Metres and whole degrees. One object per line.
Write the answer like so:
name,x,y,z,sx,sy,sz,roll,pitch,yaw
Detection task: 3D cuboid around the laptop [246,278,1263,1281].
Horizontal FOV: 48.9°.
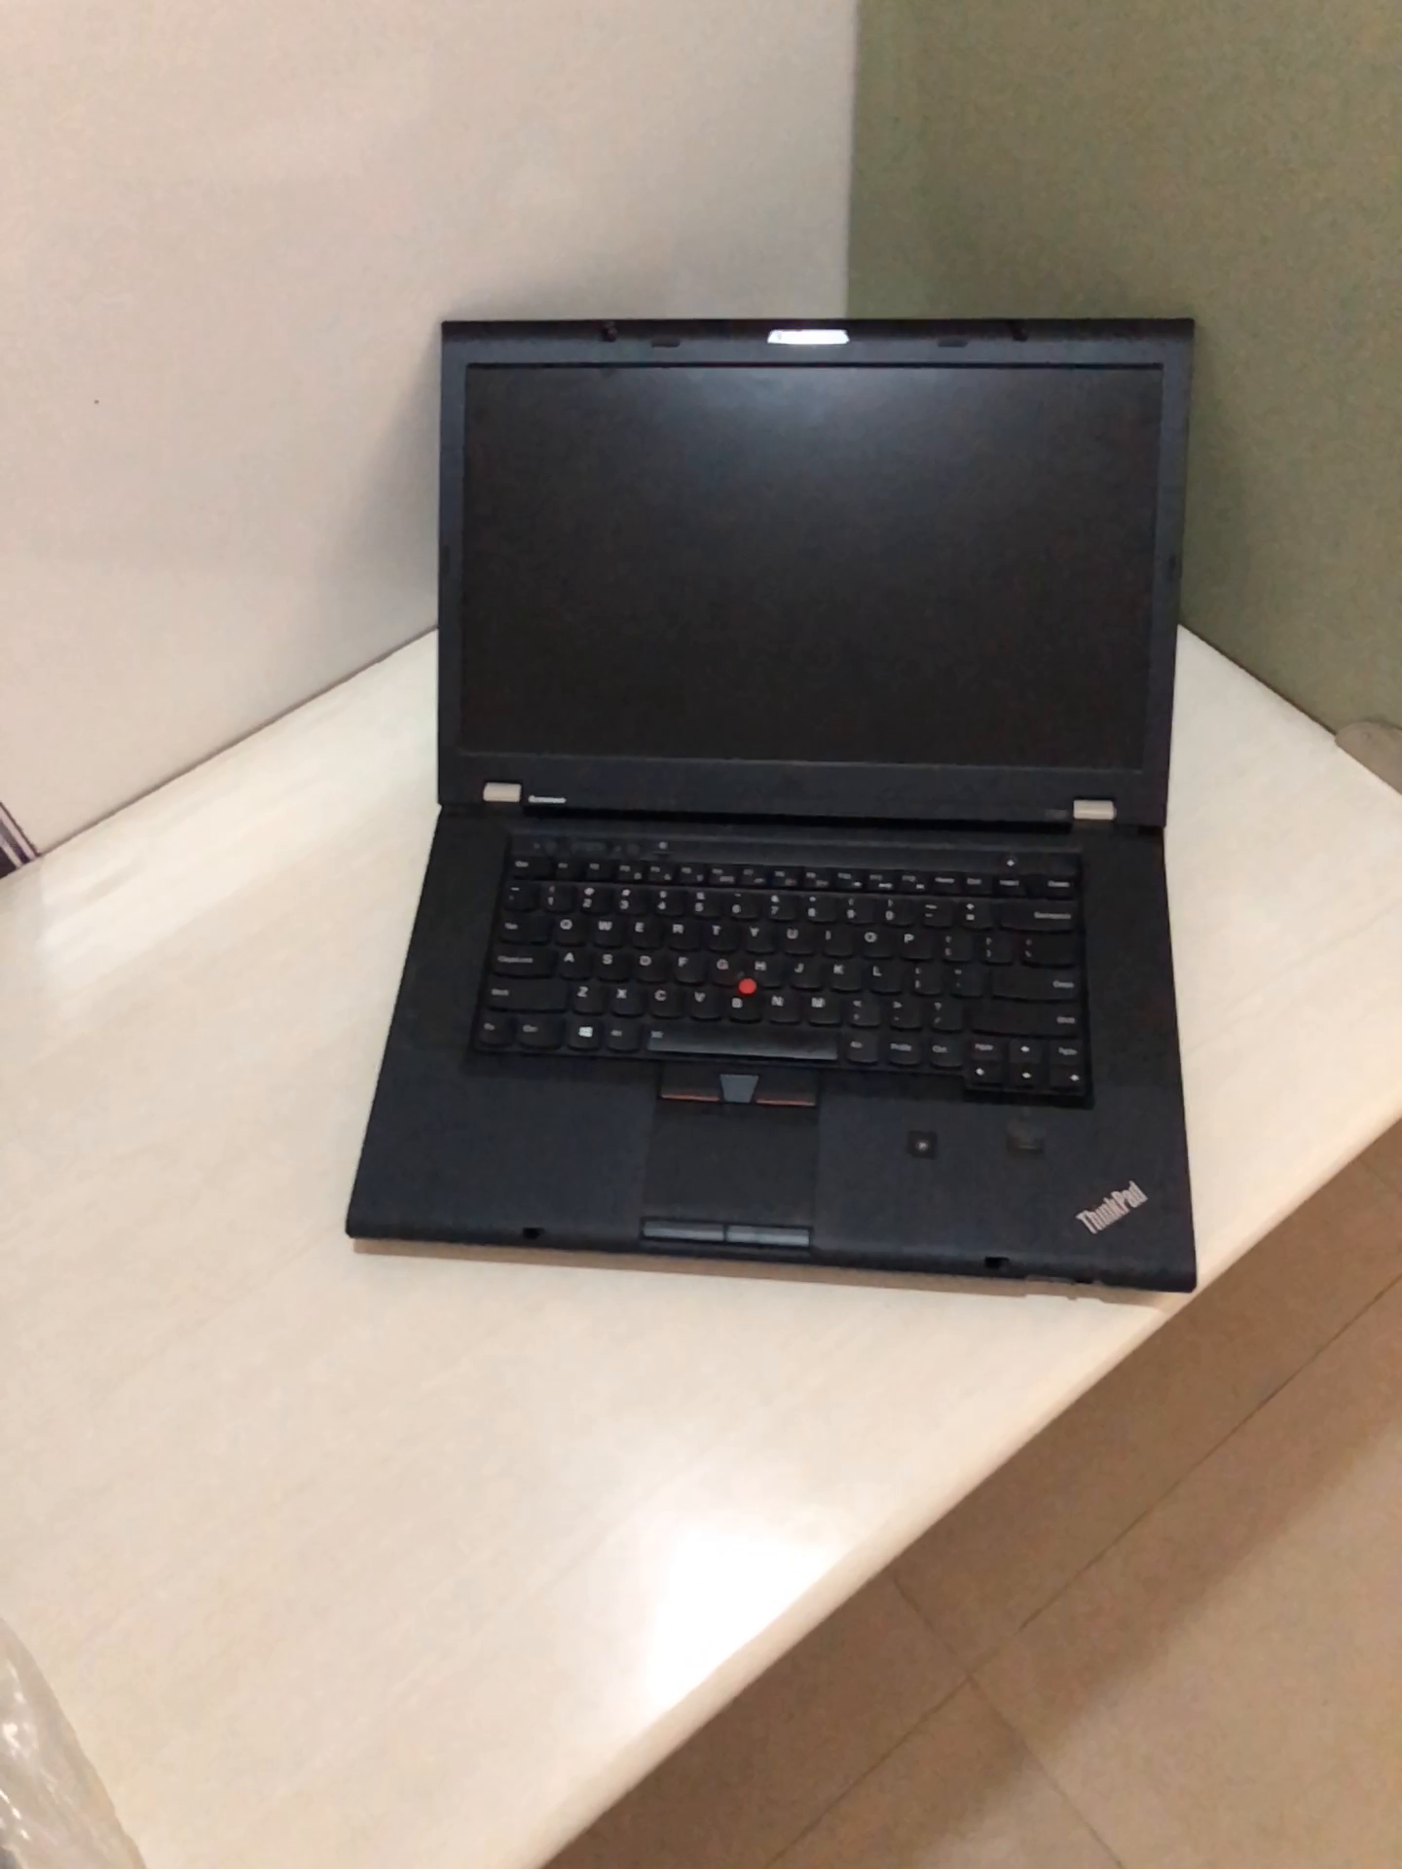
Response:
laptop,0.039,-0.085,0.688,0.353,0.142,0.413,3,61,7
